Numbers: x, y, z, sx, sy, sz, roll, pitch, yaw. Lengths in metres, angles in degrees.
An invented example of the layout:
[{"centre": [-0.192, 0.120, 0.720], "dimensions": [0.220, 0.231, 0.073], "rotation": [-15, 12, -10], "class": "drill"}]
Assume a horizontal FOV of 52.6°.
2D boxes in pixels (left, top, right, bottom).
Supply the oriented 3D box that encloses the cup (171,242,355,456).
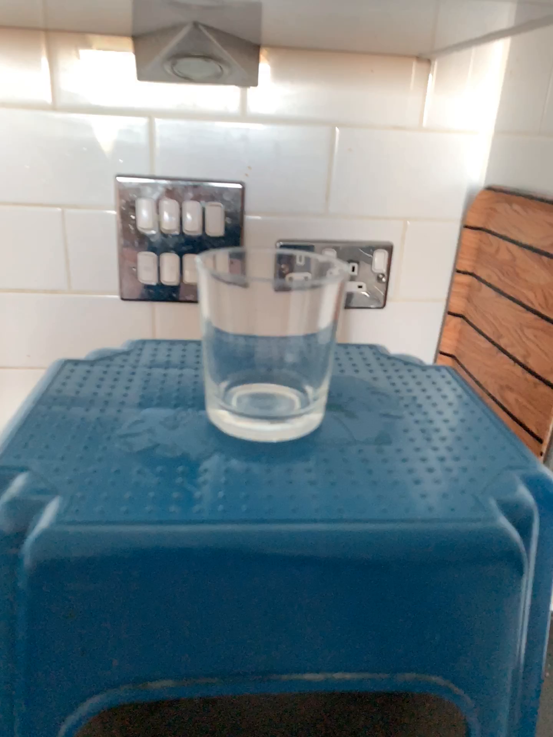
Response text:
[{"centre": [-0.006, -0.015, 0.296], "dimensions": [0.076, 0.085, 0.067], "rotation": [9, 23, 13], "class": "cup"}]
